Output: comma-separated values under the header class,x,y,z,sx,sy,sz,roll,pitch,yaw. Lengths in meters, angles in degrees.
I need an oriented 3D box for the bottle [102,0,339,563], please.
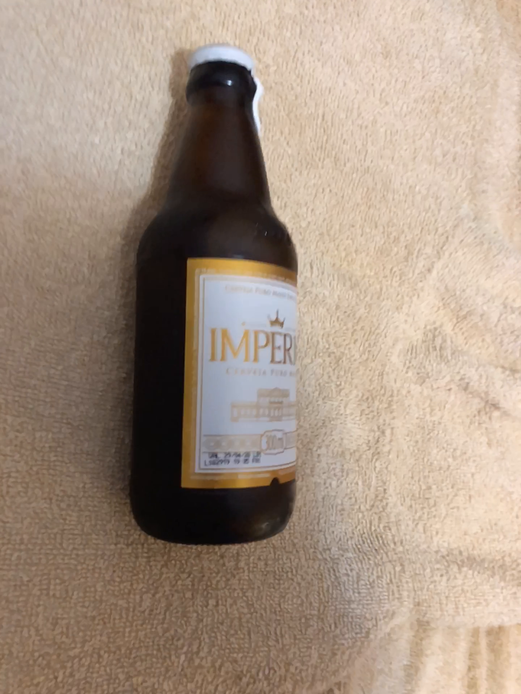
class,x,y,z,sx,sy,sz,roll,pitch,yaw
bottle,-0.015,-0.031,0.213,0.060,0.060,0.190,4,84,-37
